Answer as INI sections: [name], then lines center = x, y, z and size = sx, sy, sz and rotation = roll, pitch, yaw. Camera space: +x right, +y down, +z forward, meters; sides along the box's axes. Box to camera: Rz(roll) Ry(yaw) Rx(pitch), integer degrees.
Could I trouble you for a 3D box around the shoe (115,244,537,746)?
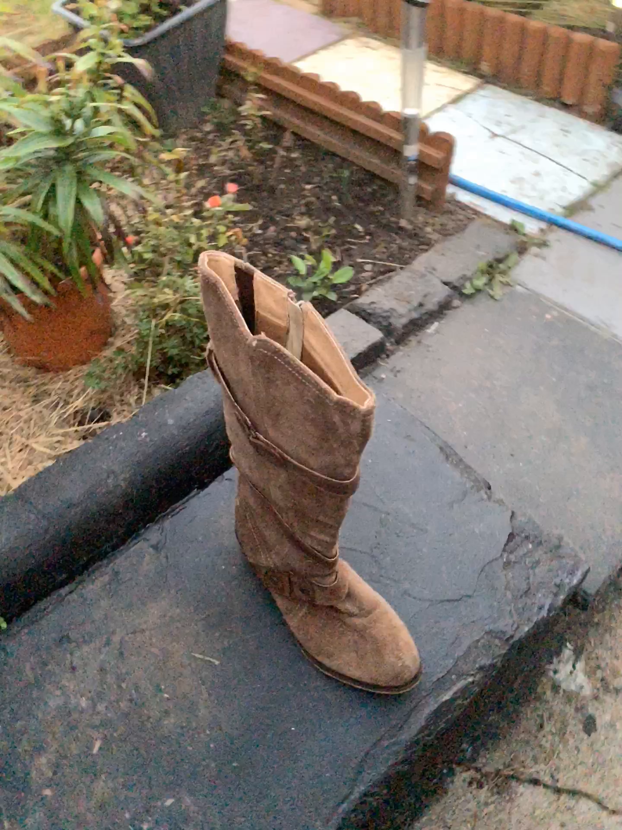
[shoe]
center = 0.001, 0.093, 0.537
size = 0.100, 0.377, 0.271
rotation = -37, 59, -24
